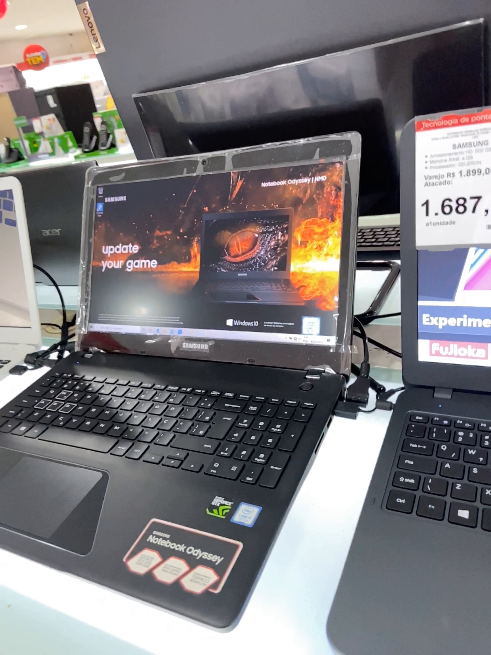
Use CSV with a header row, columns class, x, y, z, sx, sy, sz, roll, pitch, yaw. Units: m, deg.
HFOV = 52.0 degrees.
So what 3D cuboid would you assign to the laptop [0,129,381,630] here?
class,x,y,z,sx,sy,sz,roll,pitch,yaw
laptop,-0.111,-0.018,0.485,0.373,0.202,0.393,2,31,28
